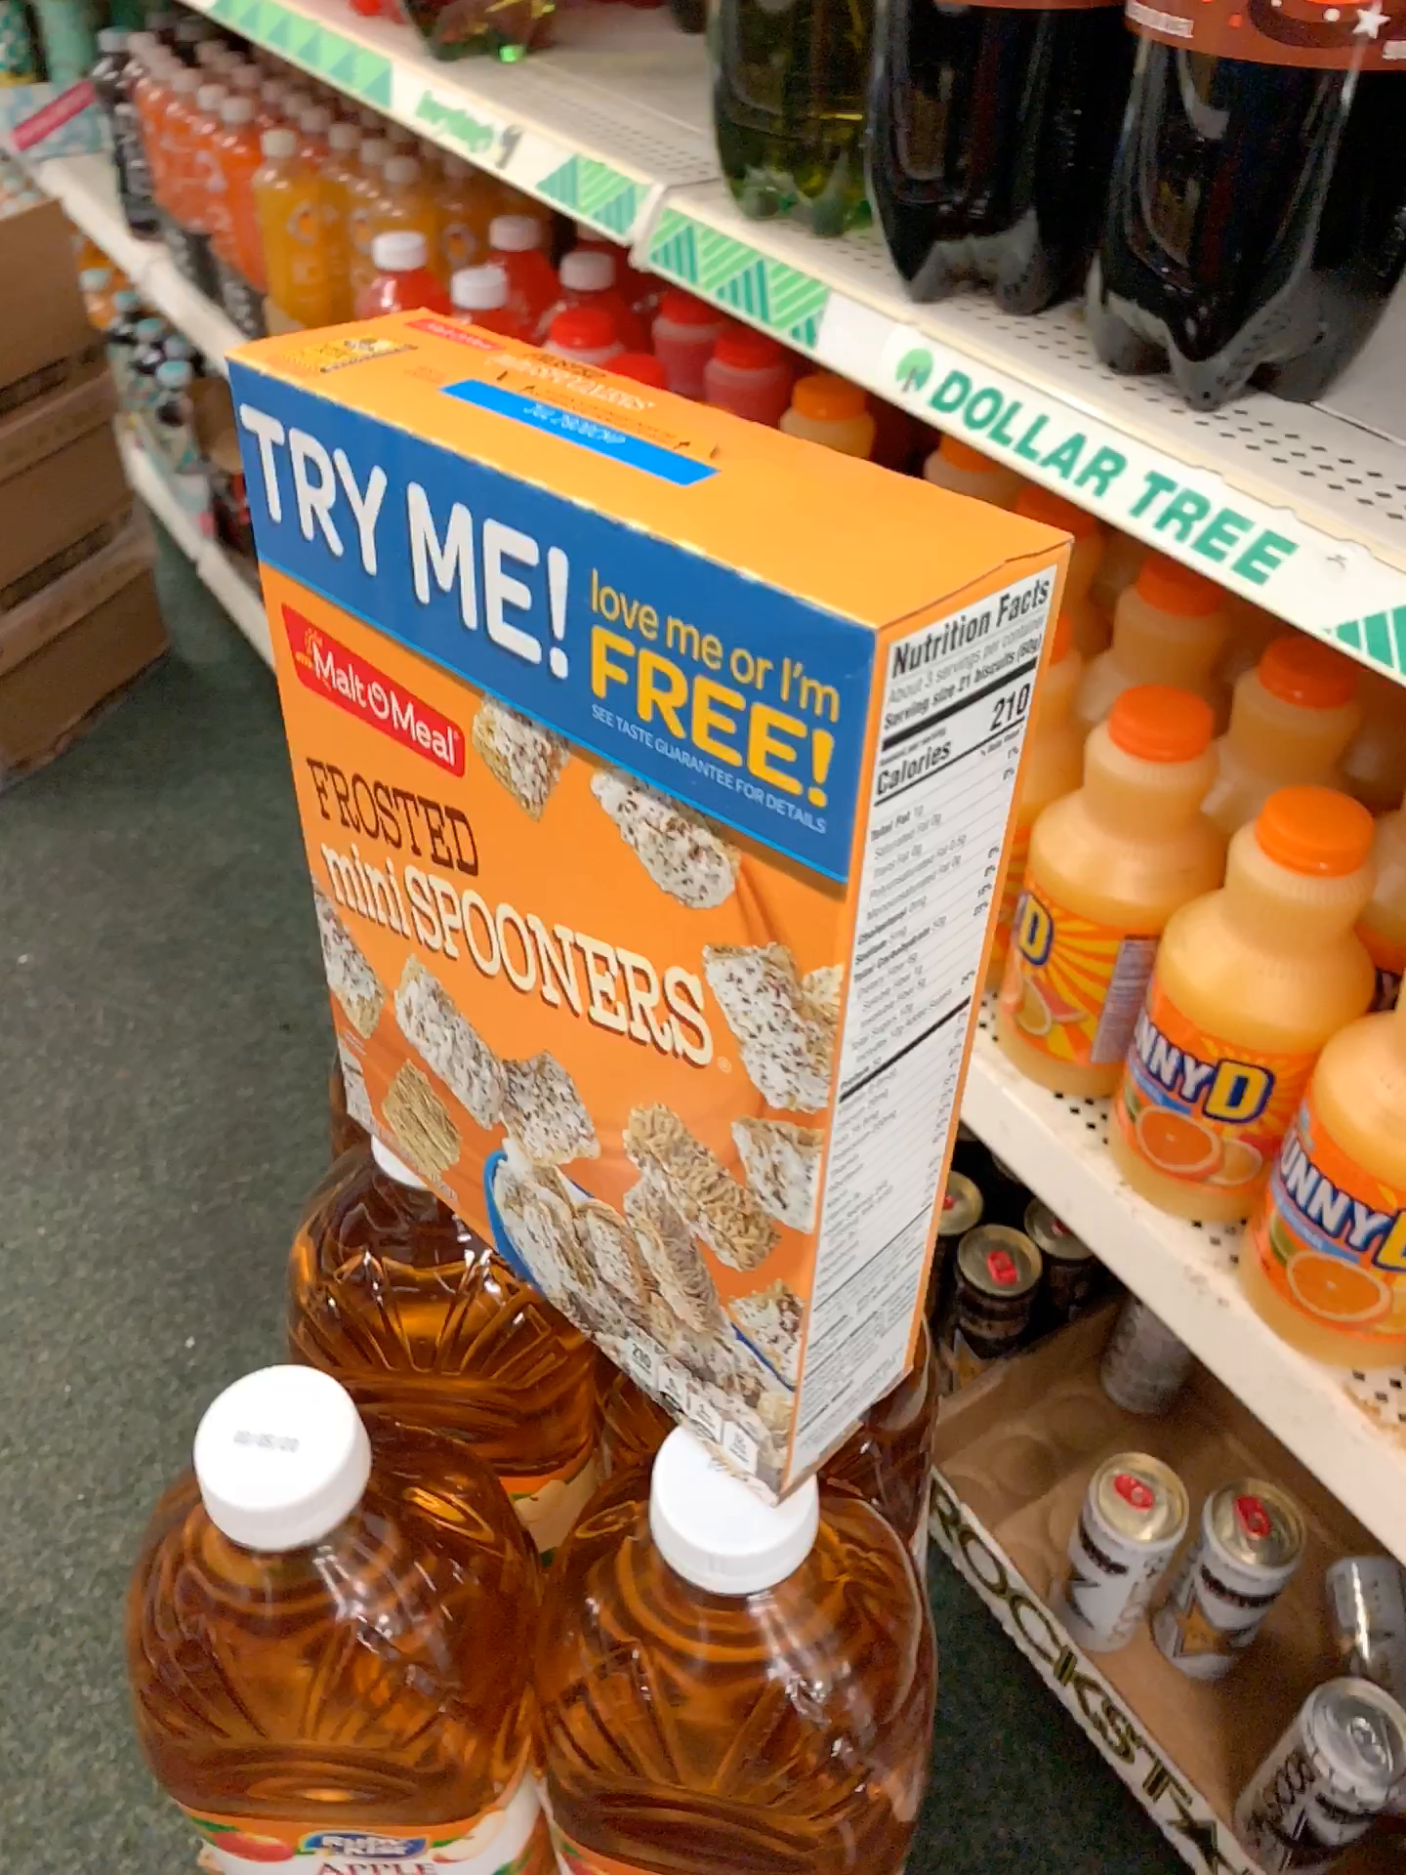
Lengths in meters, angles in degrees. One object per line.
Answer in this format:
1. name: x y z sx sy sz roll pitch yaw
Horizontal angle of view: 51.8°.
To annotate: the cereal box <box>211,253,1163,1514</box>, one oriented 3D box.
1. cereal box: -0.019 -0.009 0.318 0.170 0.219 0.060 33 46 30
